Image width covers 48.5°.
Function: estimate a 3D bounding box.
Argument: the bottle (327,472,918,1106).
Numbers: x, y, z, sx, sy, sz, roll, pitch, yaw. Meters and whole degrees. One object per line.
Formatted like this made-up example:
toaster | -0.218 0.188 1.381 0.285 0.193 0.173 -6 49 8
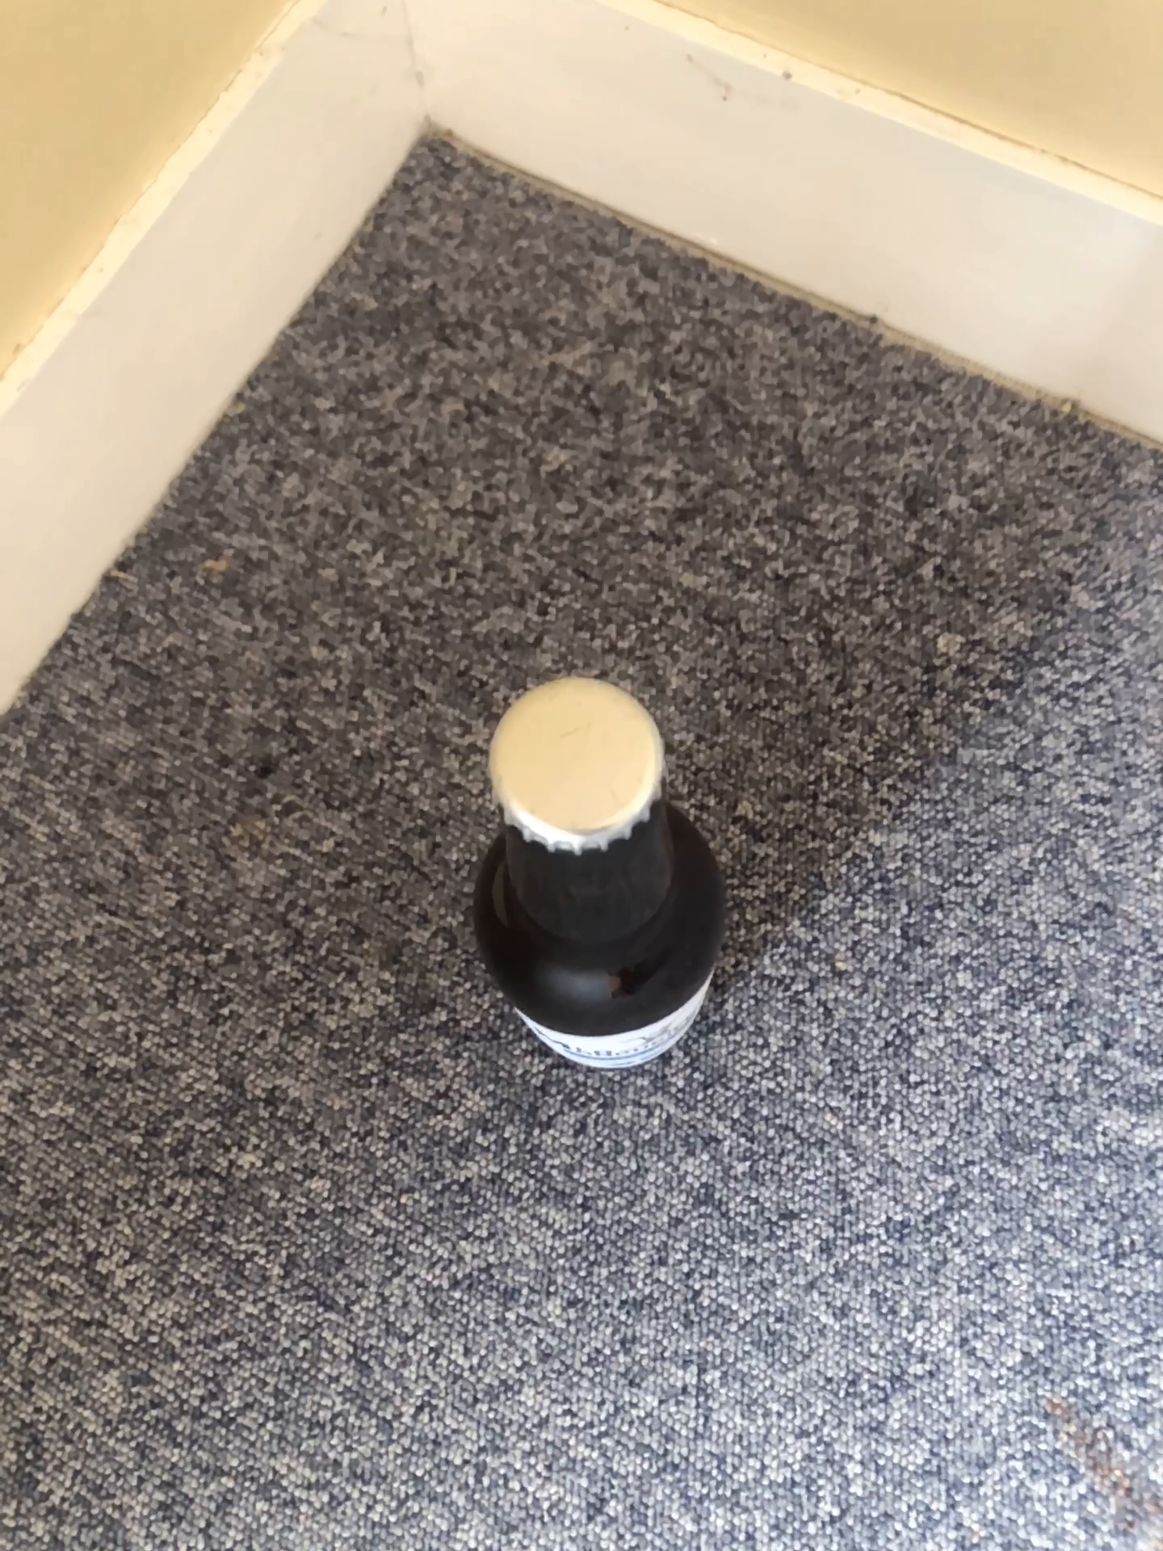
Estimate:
bottle | 0.009 0.025 0.294 0.070 0.210 0.070 -1 73 2
